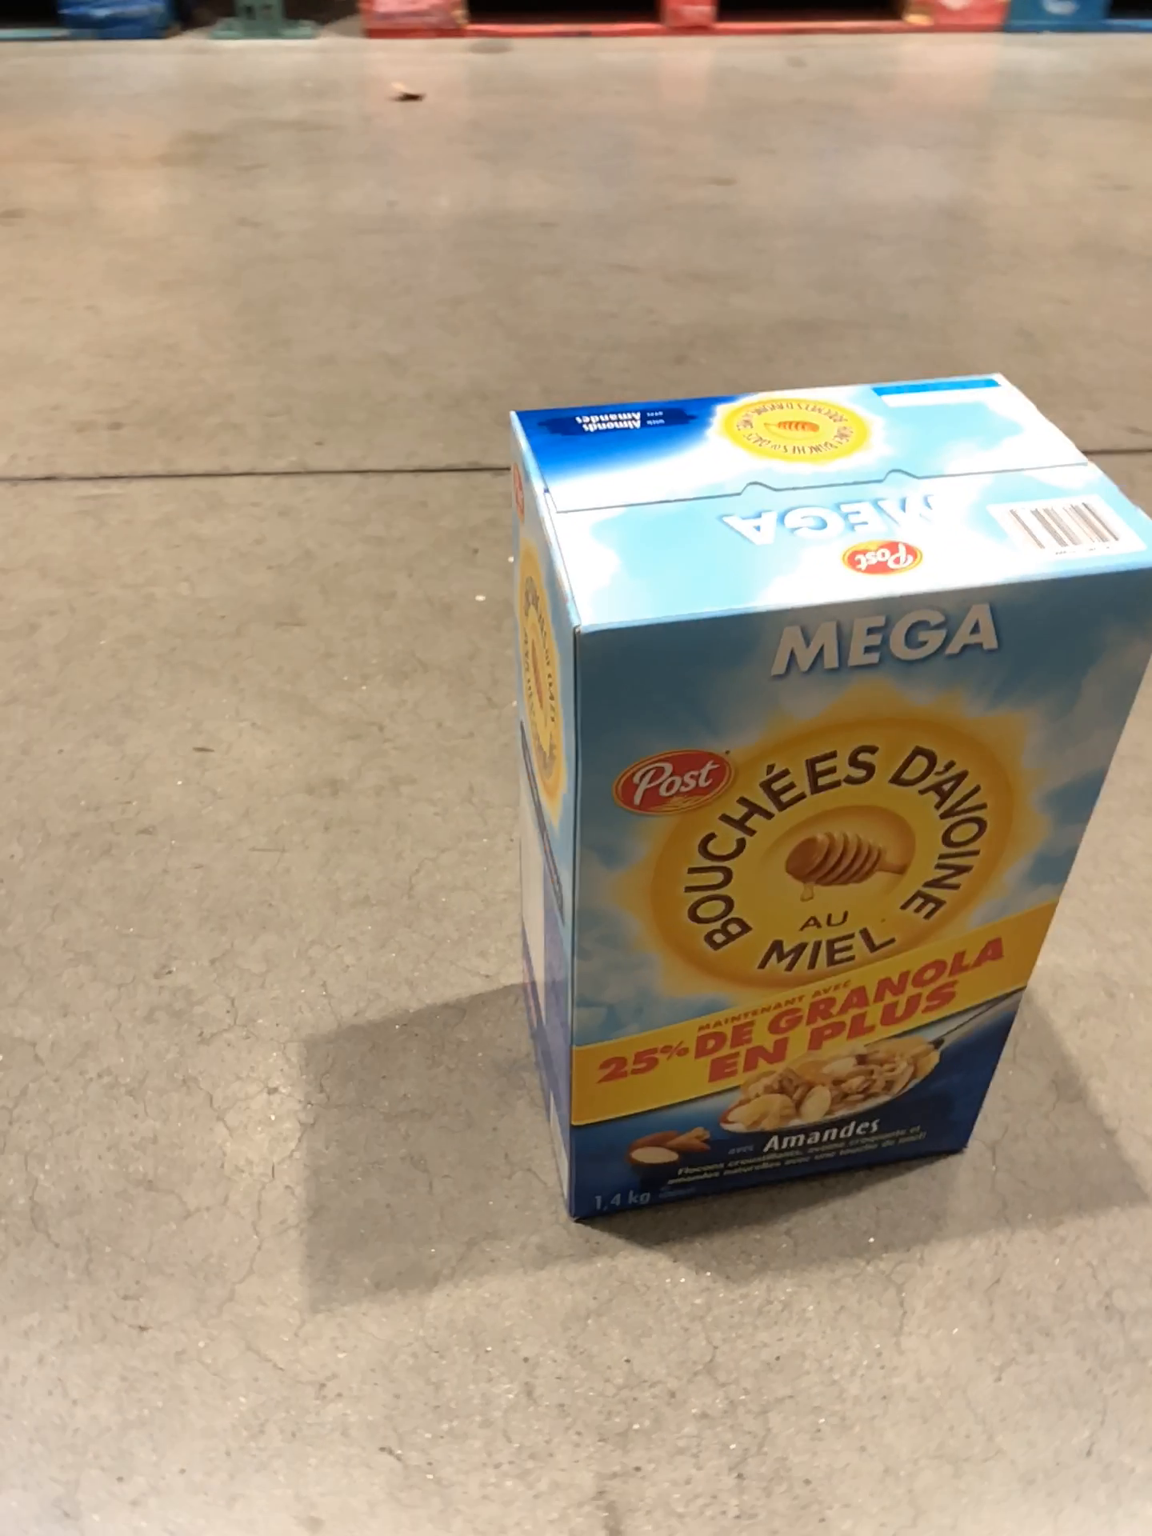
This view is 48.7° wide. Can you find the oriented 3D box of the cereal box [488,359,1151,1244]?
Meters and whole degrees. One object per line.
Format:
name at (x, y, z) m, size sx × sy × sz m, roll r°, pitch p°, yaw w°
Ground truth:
cereal box at (0.085, 0.027, 0.531) m, size 0.210 × 0.329 × 0.151 m, roll -7°, pitch 42°, yaw -9°
